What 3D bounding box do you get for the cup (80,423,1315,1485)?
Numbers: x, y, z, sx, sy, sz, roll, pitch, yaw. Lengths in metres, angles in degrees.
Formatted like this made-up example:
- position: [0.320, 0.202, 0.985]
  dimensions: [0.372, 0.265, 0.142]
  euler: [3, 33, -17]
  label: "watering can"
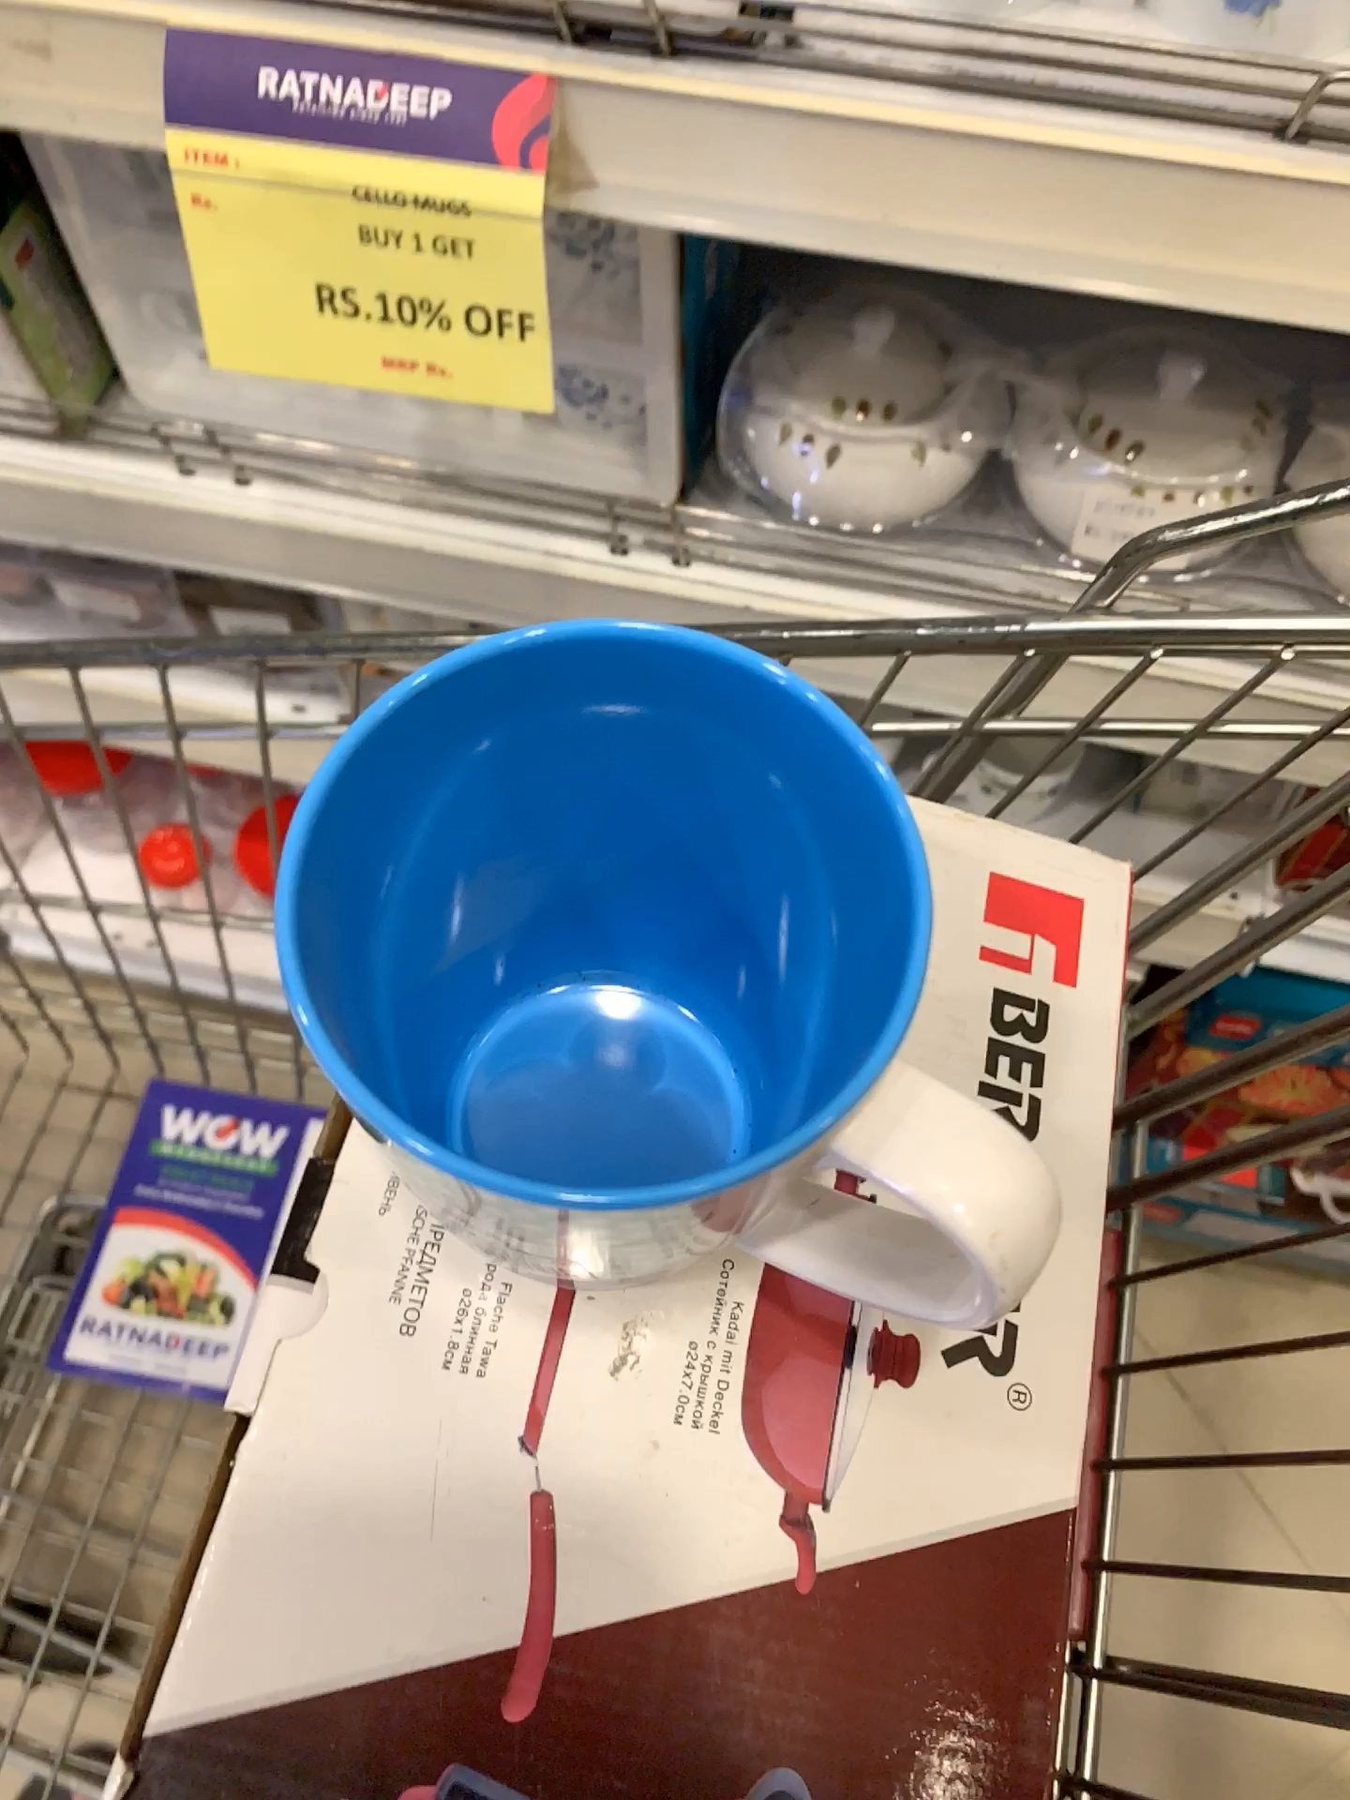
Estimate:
- position: [0.003, 0.015, 0.207]
  dimensions: [0.120, 0.100, 0.080]
  euler: [26, 66, 10]
  label: "cup"
